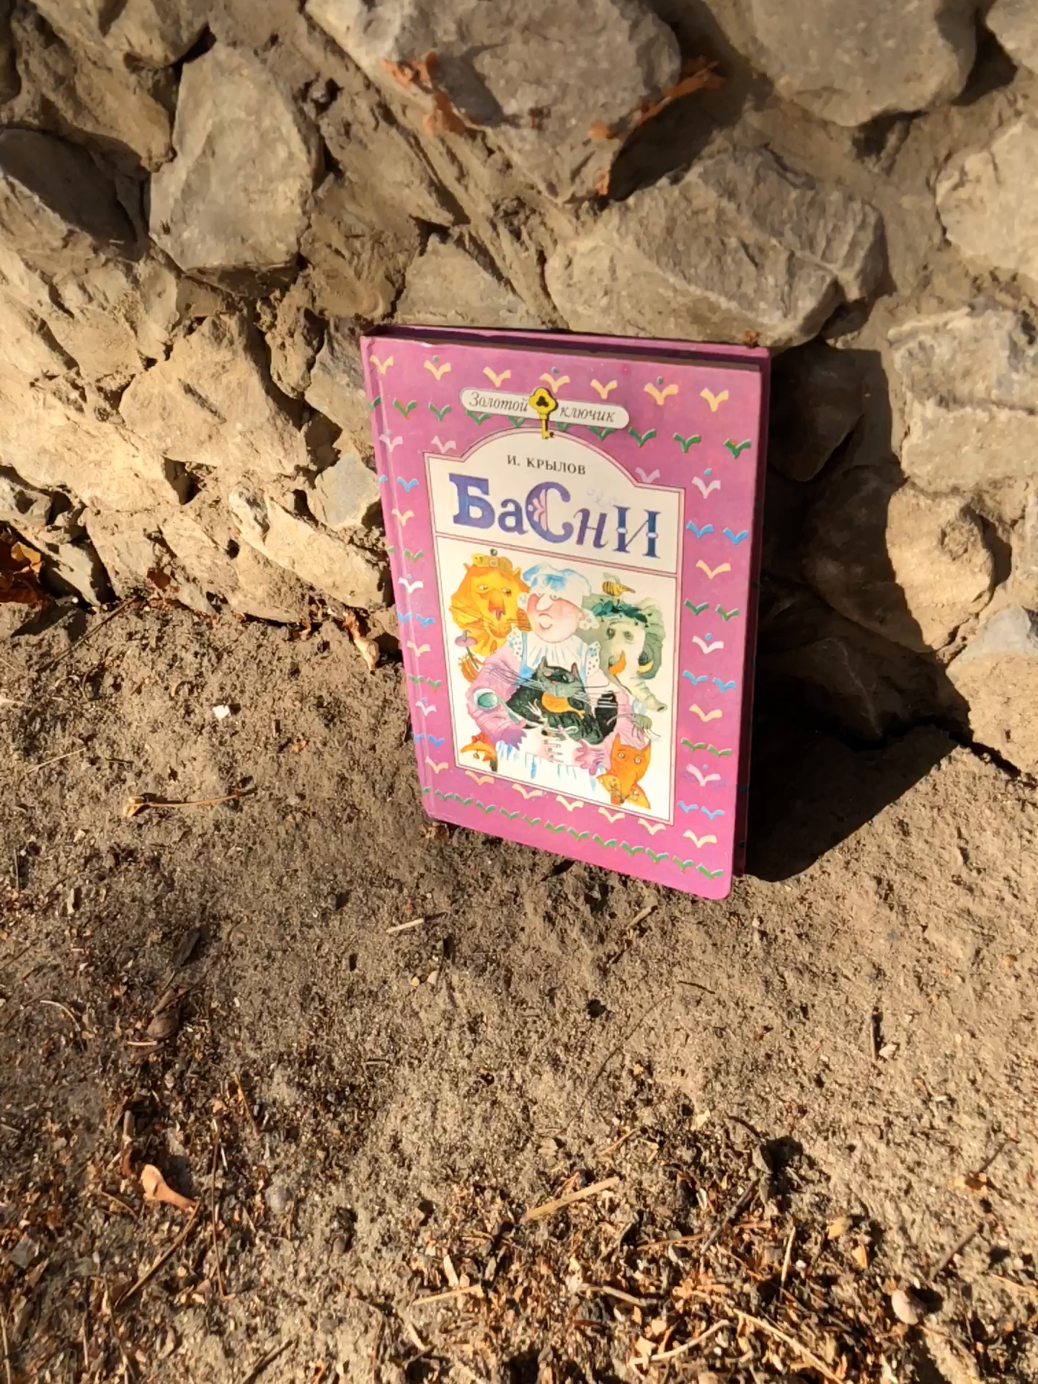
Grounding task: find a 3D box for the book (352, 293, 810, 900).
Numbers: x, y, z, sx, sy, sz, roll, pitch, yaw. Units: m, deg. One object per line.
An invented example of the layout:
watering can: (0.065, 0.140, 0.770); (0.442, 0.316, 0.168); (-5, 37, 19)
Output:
book: (0.019, -0.029, 0.403); (0.142, 0.201, 0.025); (13, 35, 23)
